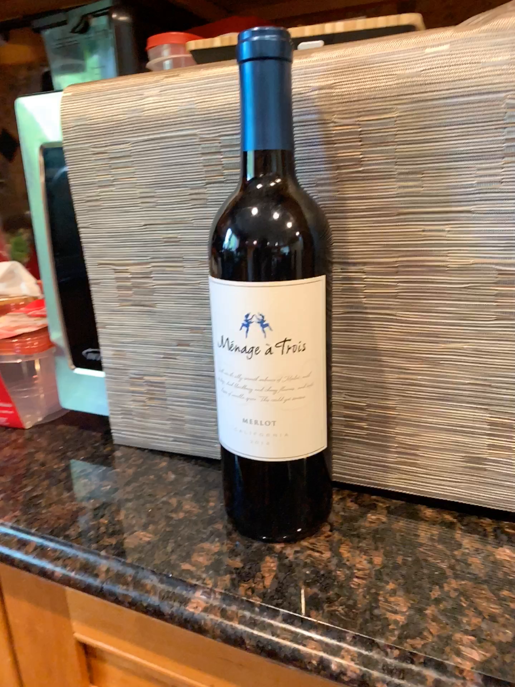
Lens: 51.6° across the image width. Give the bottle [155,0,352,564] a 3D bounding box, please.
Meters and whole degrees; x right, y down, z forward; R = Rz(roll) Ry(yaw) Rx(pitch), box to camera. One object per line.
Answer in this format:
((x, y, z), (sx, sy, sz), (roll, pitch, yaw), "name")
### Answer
((0.007, -0.029, 0.329), (0.080, 0.309, 0.080), (-2, 17, 1), "bottle")
